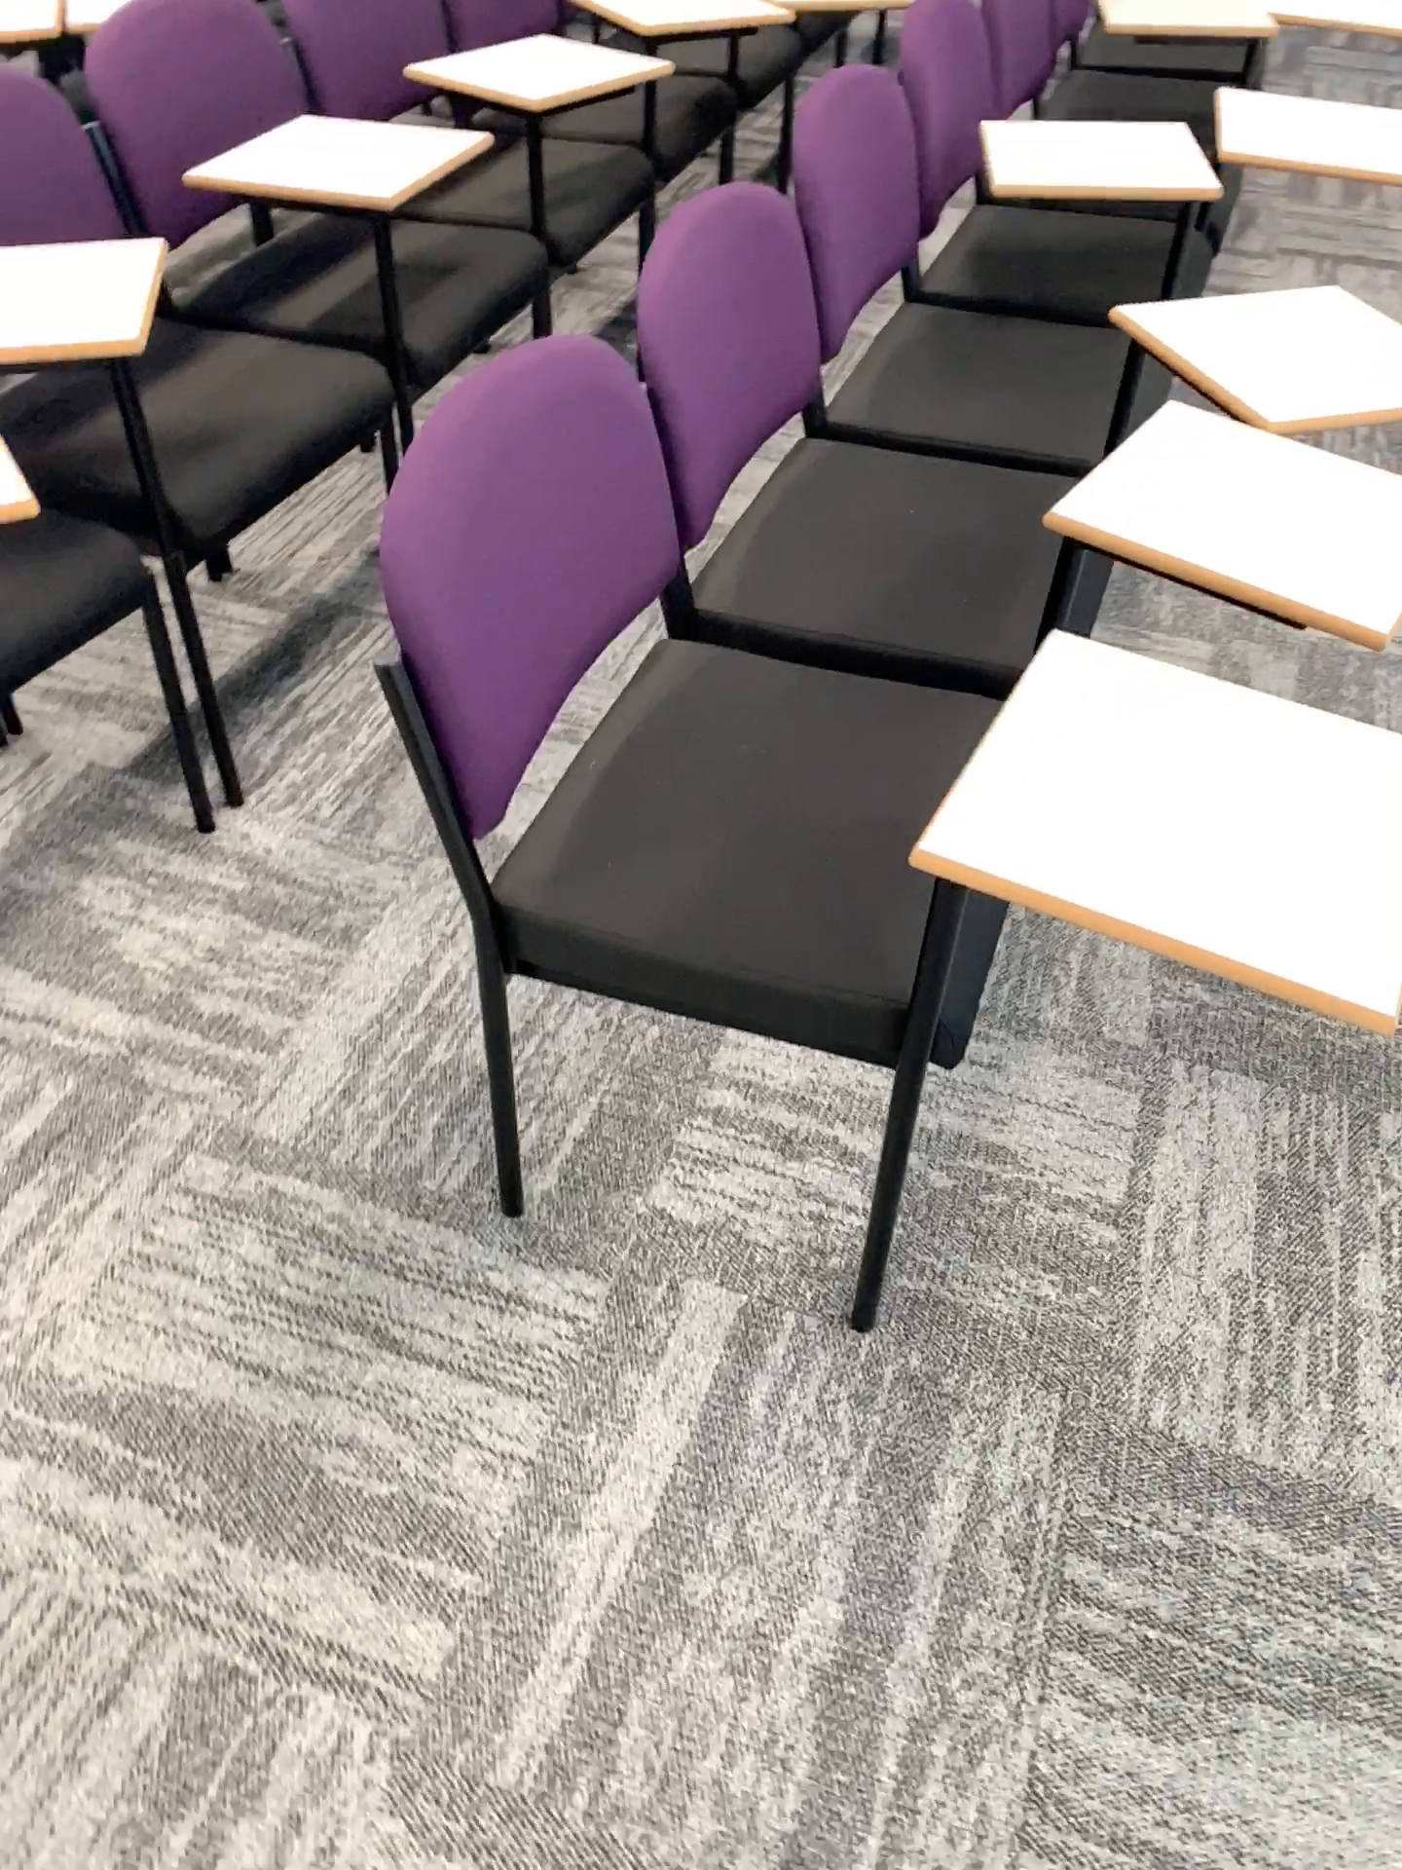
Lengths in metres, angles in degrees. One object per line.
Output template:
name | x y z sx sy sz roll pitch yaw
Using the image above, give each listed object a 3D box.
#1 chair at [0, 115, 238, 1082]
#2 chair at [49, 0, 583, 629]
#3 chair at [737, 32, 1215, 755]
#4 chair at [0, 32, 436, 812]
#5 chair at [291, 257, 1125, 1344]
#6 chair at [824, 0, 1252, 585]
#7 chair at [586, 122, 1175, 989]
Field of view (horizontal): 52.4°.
chair | -0.963 -0.363 1.582 0.501 0.801 0.520 19 47 17
chair | -0.544 -1.023 2.273 0.501 0.801 0.520 18 46 16
chair | 0.378 -0.783 2.086 0.481 0.791 0.520 15 45 13
chair | -0.753 -0.689 1.934 0.501 0.782 0.520 18 46 16
chair | 0.031 -0.113 1.372 0.501 0.801 0.520 15 45 13
chair | 0.556 -1.127 2.442 0.501 0.791 0.520 15 45 13
chair | 0.199 -0.447 1.727 0.491 0.791 0.520 15 45 13
